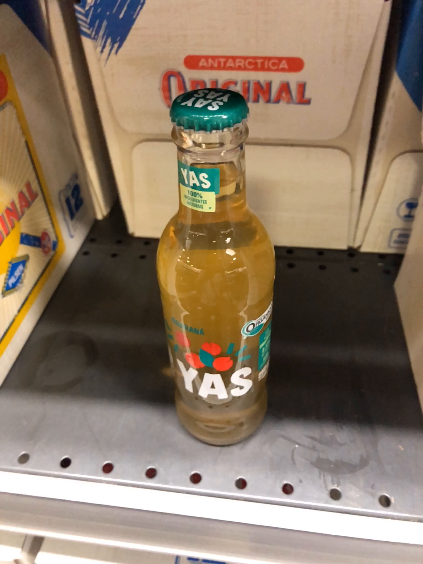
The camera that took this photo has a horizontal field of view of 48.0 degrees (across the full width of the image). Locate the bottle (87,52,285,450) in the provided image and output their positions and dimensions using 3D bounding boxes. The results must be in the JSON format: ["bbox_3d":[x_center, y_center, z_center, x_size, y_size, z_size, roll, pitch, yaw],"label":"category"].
[{"bbox_3d":[-0.001,0.003,0.232,0.060,0.198,0.060,-2,43,2],"label":"bottle"}]
